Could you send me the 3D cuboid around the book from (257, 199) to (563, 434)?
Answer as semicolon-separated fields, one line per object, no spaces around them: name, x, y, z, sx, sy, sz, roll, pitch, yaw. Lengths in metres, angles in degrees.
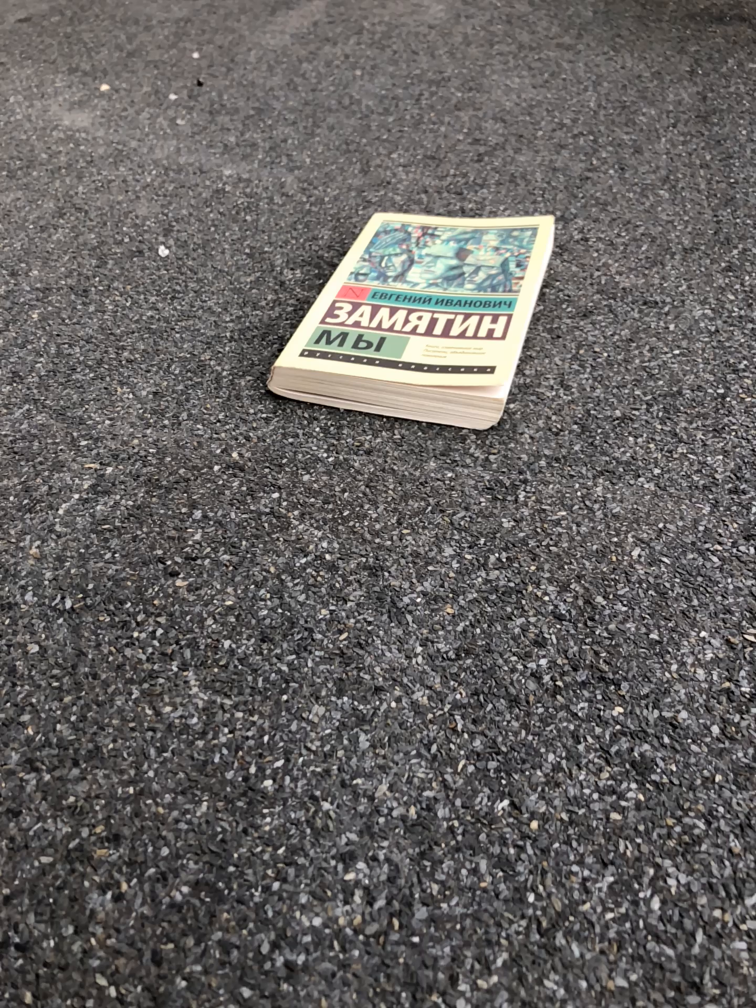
book;0.027;-0.110;0.447;0.120;0.027;0.183;9;43;13
